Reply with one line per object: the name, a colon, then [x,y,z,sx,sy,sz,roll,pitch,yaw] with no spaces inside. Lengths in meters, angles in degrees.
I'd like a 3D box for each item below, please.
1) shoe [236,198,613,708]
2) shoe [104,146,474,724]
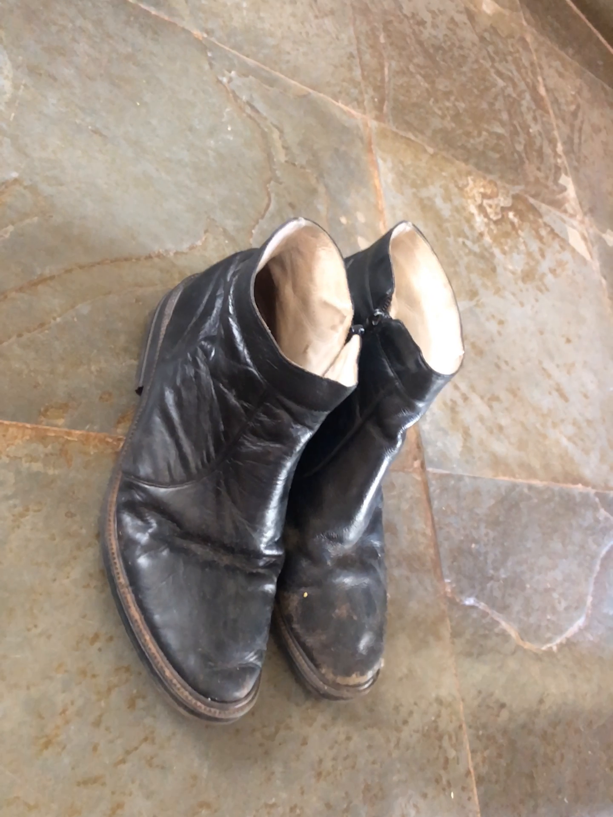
shoe: [0.053,0.035,0.411,0.100,0.159,0.251,6,66,-35]
shoe: [-0.024,0.026,0.362,0.100,0.159,0.251,12,62,-33]
